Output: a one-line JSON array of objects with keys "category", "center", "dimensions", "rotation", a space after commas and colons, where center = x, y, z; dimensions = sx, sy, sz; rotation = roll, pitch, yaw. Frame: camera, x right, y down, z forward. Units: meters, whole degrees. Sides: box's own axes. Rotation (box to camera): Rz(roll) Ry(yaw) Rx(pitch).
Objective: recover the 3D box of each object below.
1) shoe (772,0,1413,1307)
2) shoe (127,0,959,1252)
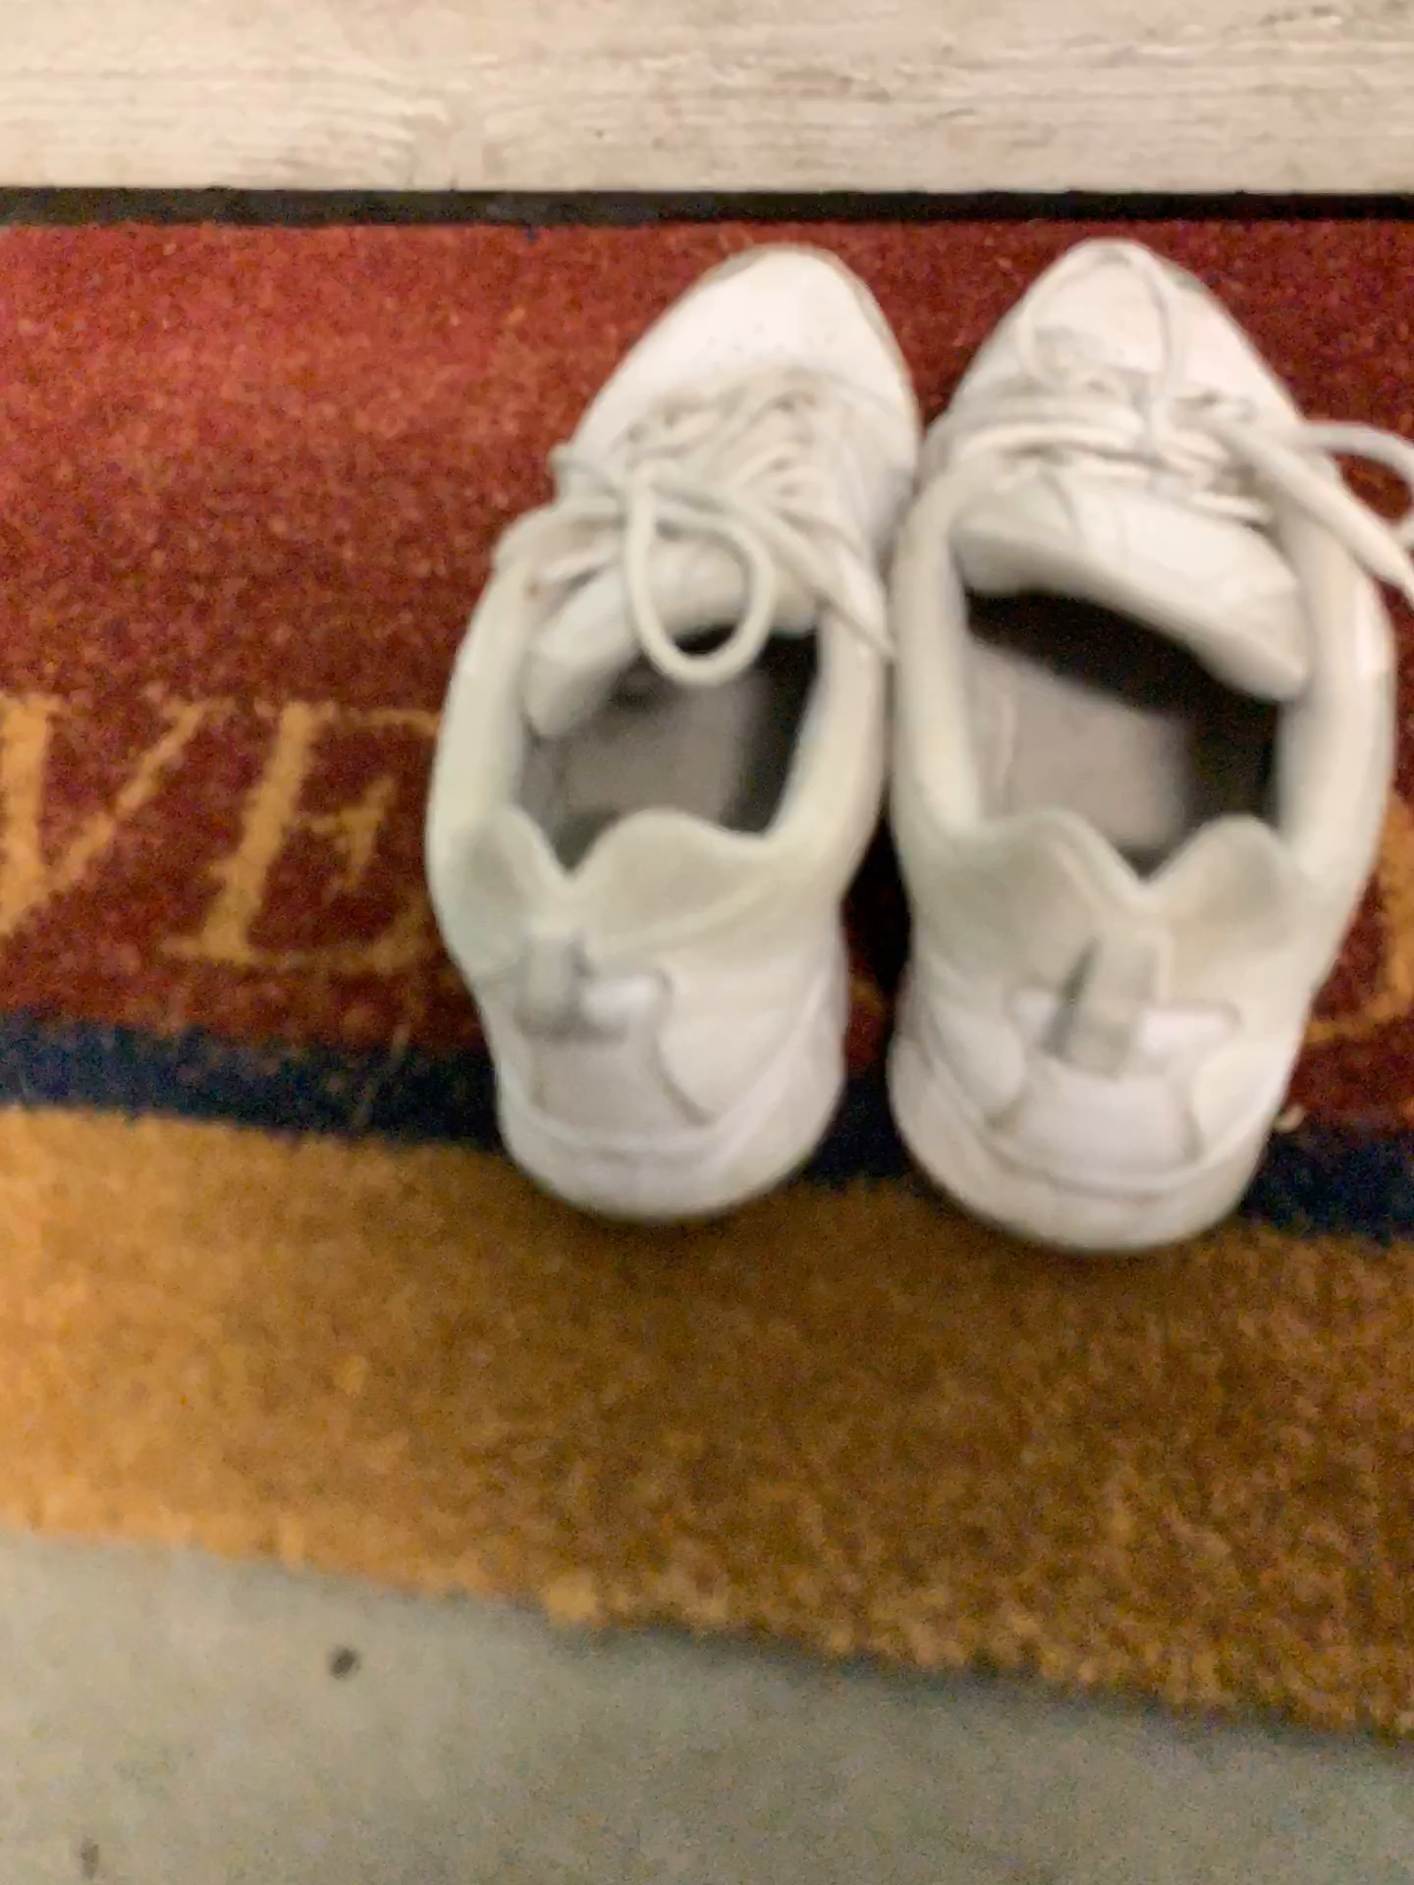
[{"category": "shoe", "center": [0.098, -0.091, 0.328], "dimensions": [0.120, 0.129, 0.302], "rotation": [5, 60, 9]}, {"category": "shoe", "center": [-0.008, -0.098, 0.346], "dimensions": [0.110, 0.129, 0.302], "rotation": [5, 60, 9]}]
